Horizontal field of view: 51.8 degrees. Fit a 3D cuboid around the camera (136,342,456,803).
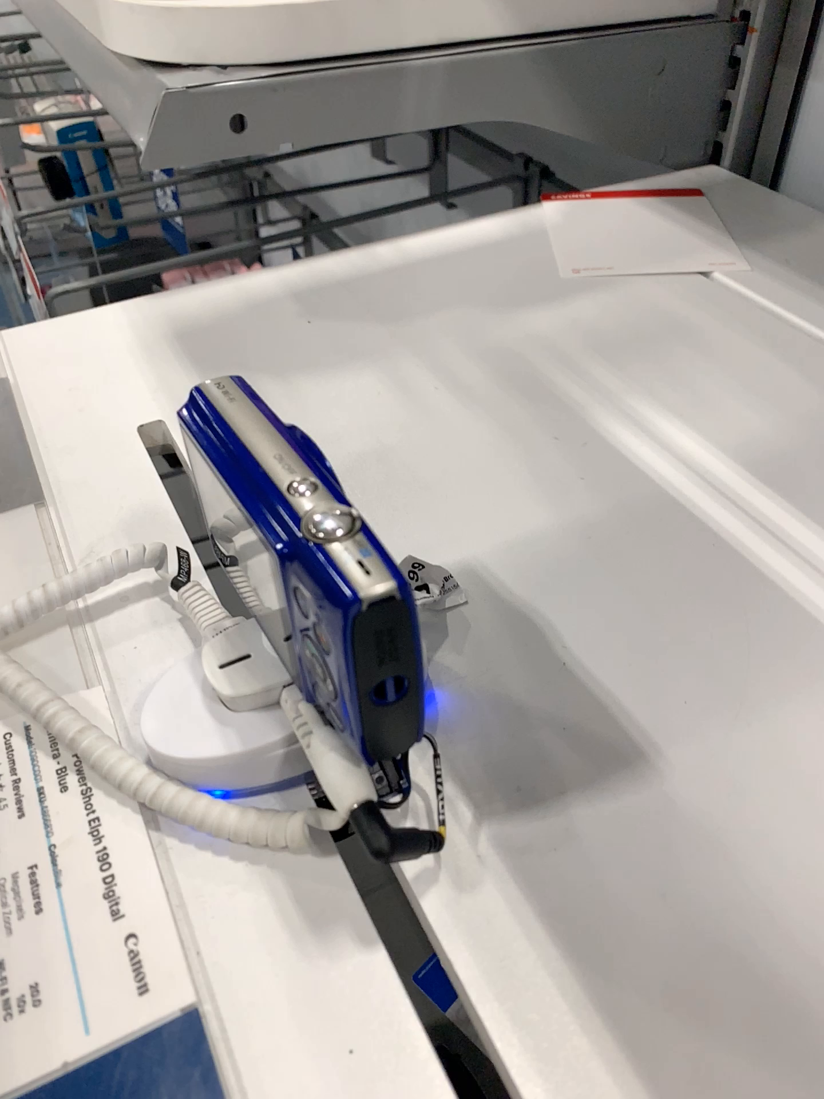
[{"bbox_3d":[-0.029,0.002,0.207,0.027,0.060,0.100,-26,49,-19],"label":"camera"}]
